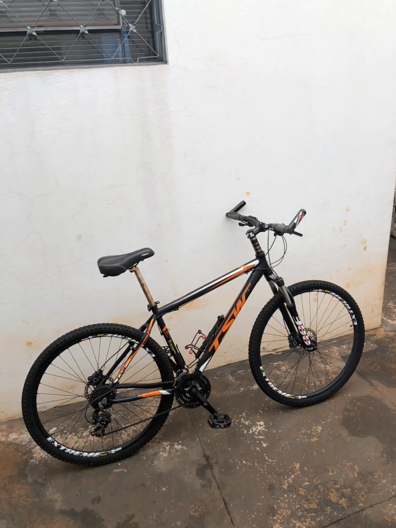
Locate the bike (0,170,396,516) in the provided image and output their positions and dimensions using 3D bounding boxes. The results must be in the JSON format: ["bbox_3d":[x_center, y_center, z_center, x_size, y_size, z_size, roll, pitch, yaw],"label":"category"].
[{"bbox_3d":[0.041,0.246,2.153,1.764,1.085,0.725,-11,23,-16],"label":"bike"}]
